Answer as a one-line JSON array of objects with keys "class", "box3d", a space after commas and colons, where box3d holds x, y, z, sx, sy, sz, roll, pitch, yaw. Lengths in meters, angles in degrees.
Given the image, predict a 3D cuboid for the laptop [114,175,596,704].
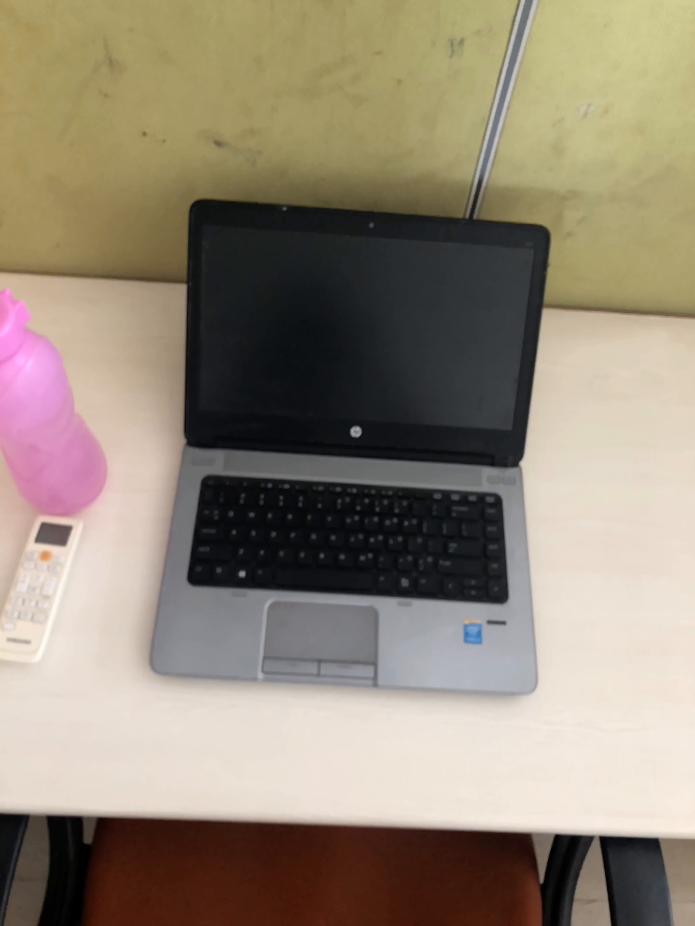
[{"class": "laptop", "box3d": [0.010, -0.026, 0.671, 0.326, 0.148, 0.407, 3, 65, -2]}]
